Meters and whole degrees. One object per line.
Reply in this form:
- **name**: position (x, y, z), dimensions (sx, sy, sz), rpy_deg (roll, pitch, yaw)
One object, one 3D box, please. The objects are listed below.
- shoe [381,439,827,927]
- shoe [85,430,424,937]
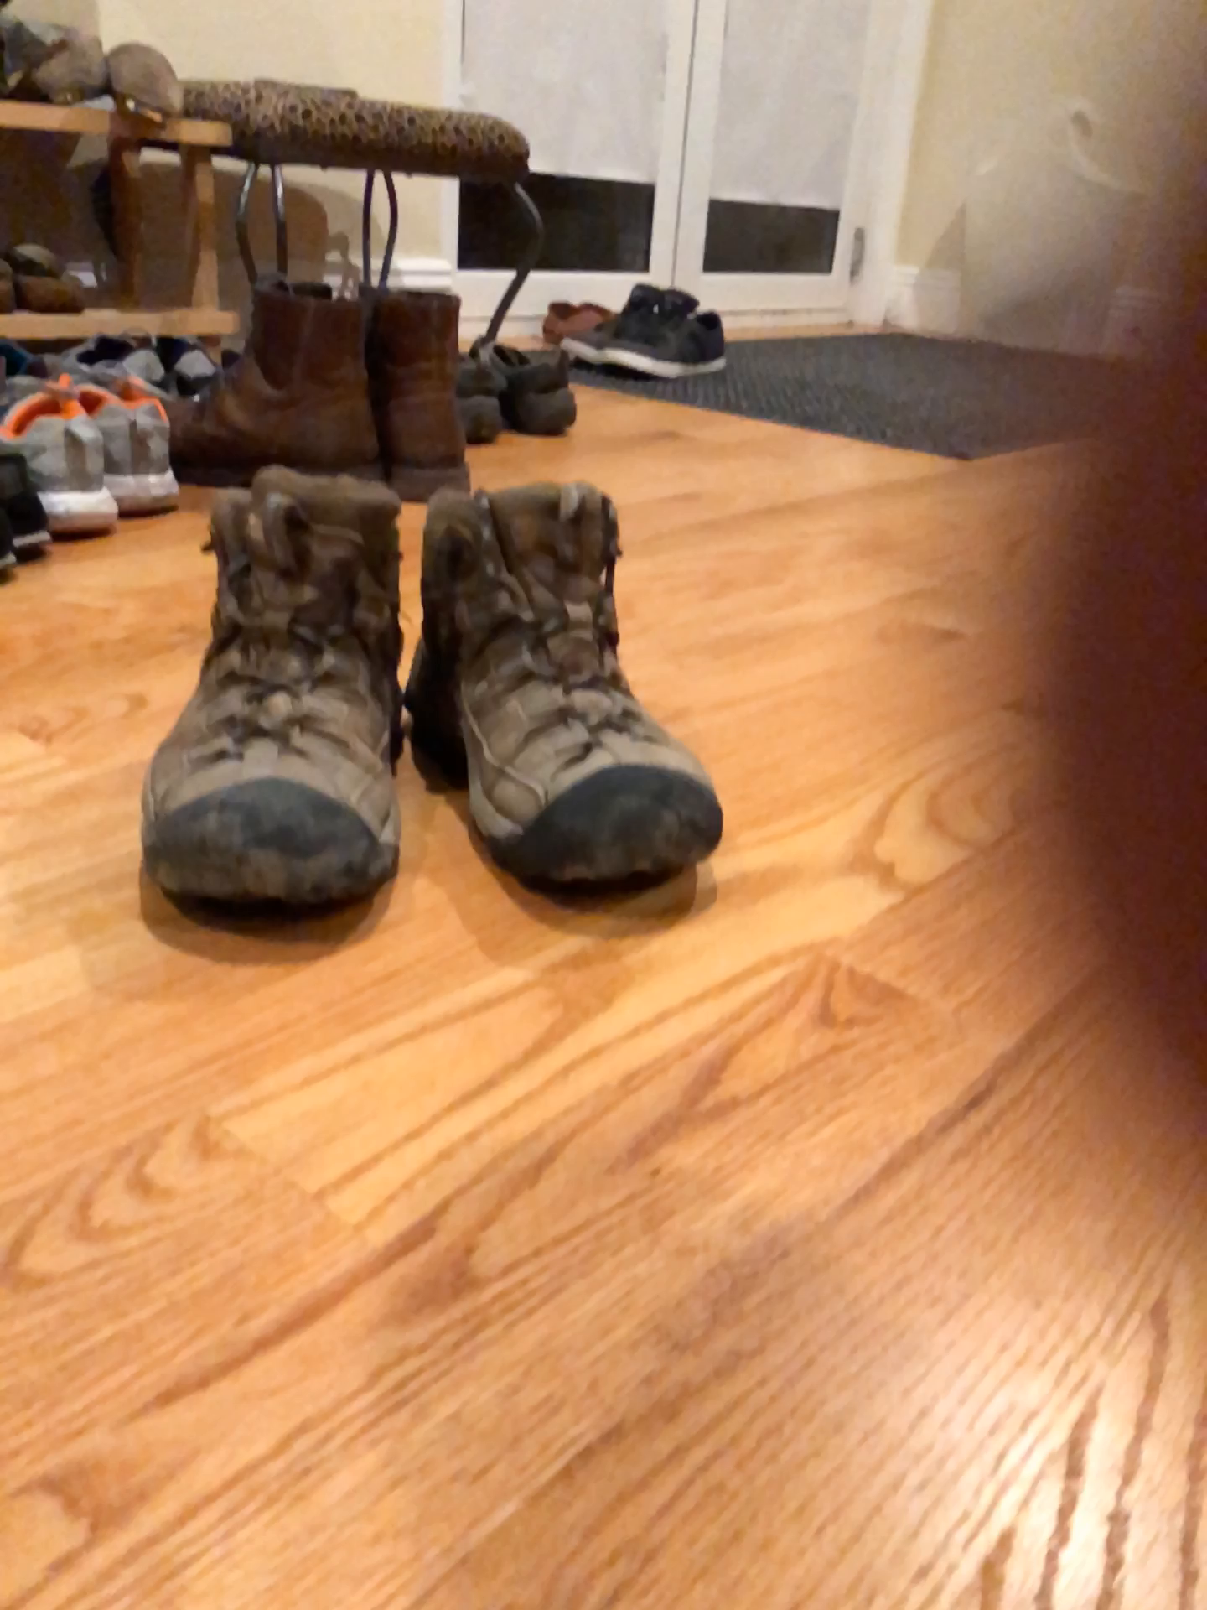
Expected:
- **shoe**: position (-0.020, -0.074, 0.610), dimensions (0.107, 0.139, 0.260), rpy_deg (-6, 26, -21)
- **shoe**: position (-0.134, -0.069, 0.578), dimensions (0.107, 0.139, 0.261), rpy_deg (1, 24, -8)
